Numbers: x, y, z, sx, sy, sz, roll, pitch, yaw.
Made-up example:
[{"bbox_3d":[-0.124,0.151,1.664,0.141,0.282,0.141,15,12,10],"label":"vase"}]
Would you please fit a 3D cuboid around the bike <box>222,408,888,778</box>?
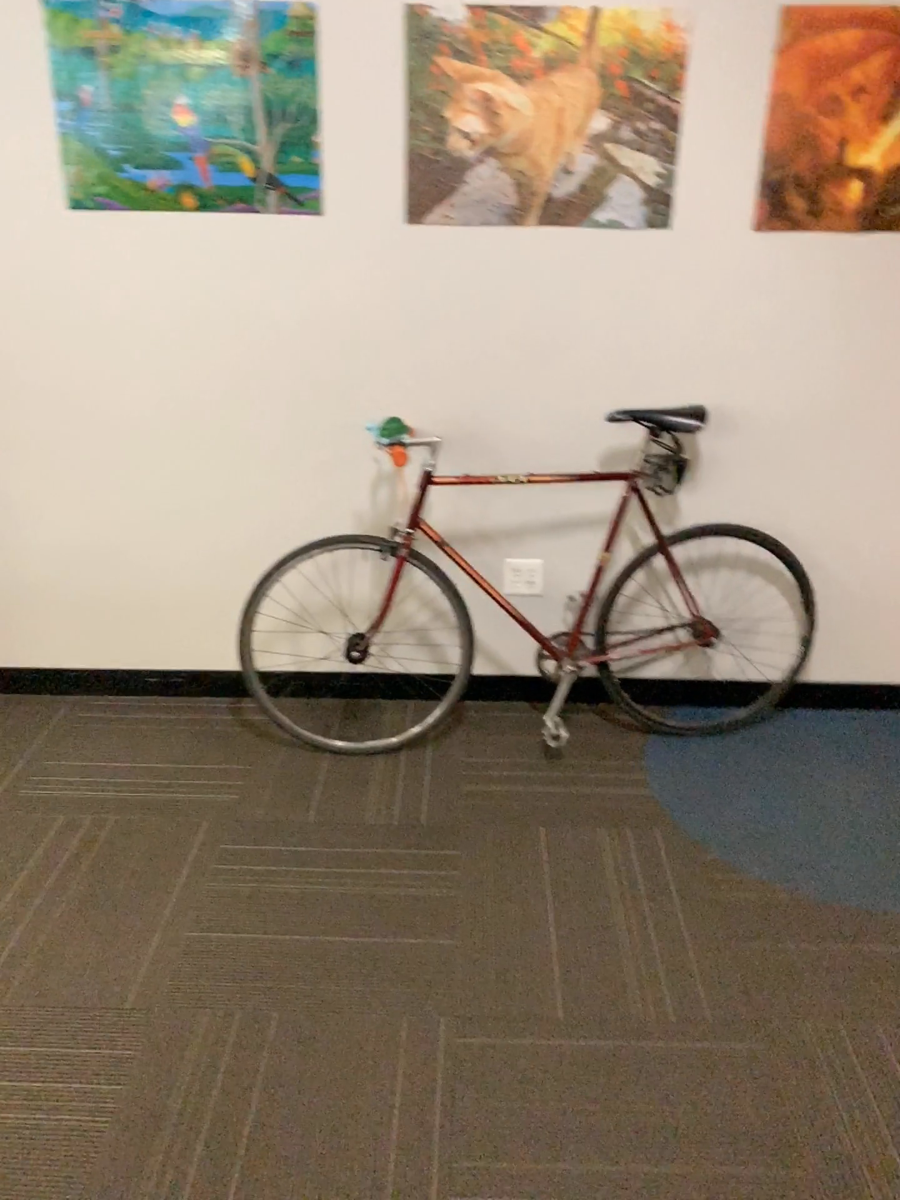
[{"bbox_3d":[0.244,-0.040,2.601,1.626,0.909,0.451,-1,23,-5],"label":"bike"}]
